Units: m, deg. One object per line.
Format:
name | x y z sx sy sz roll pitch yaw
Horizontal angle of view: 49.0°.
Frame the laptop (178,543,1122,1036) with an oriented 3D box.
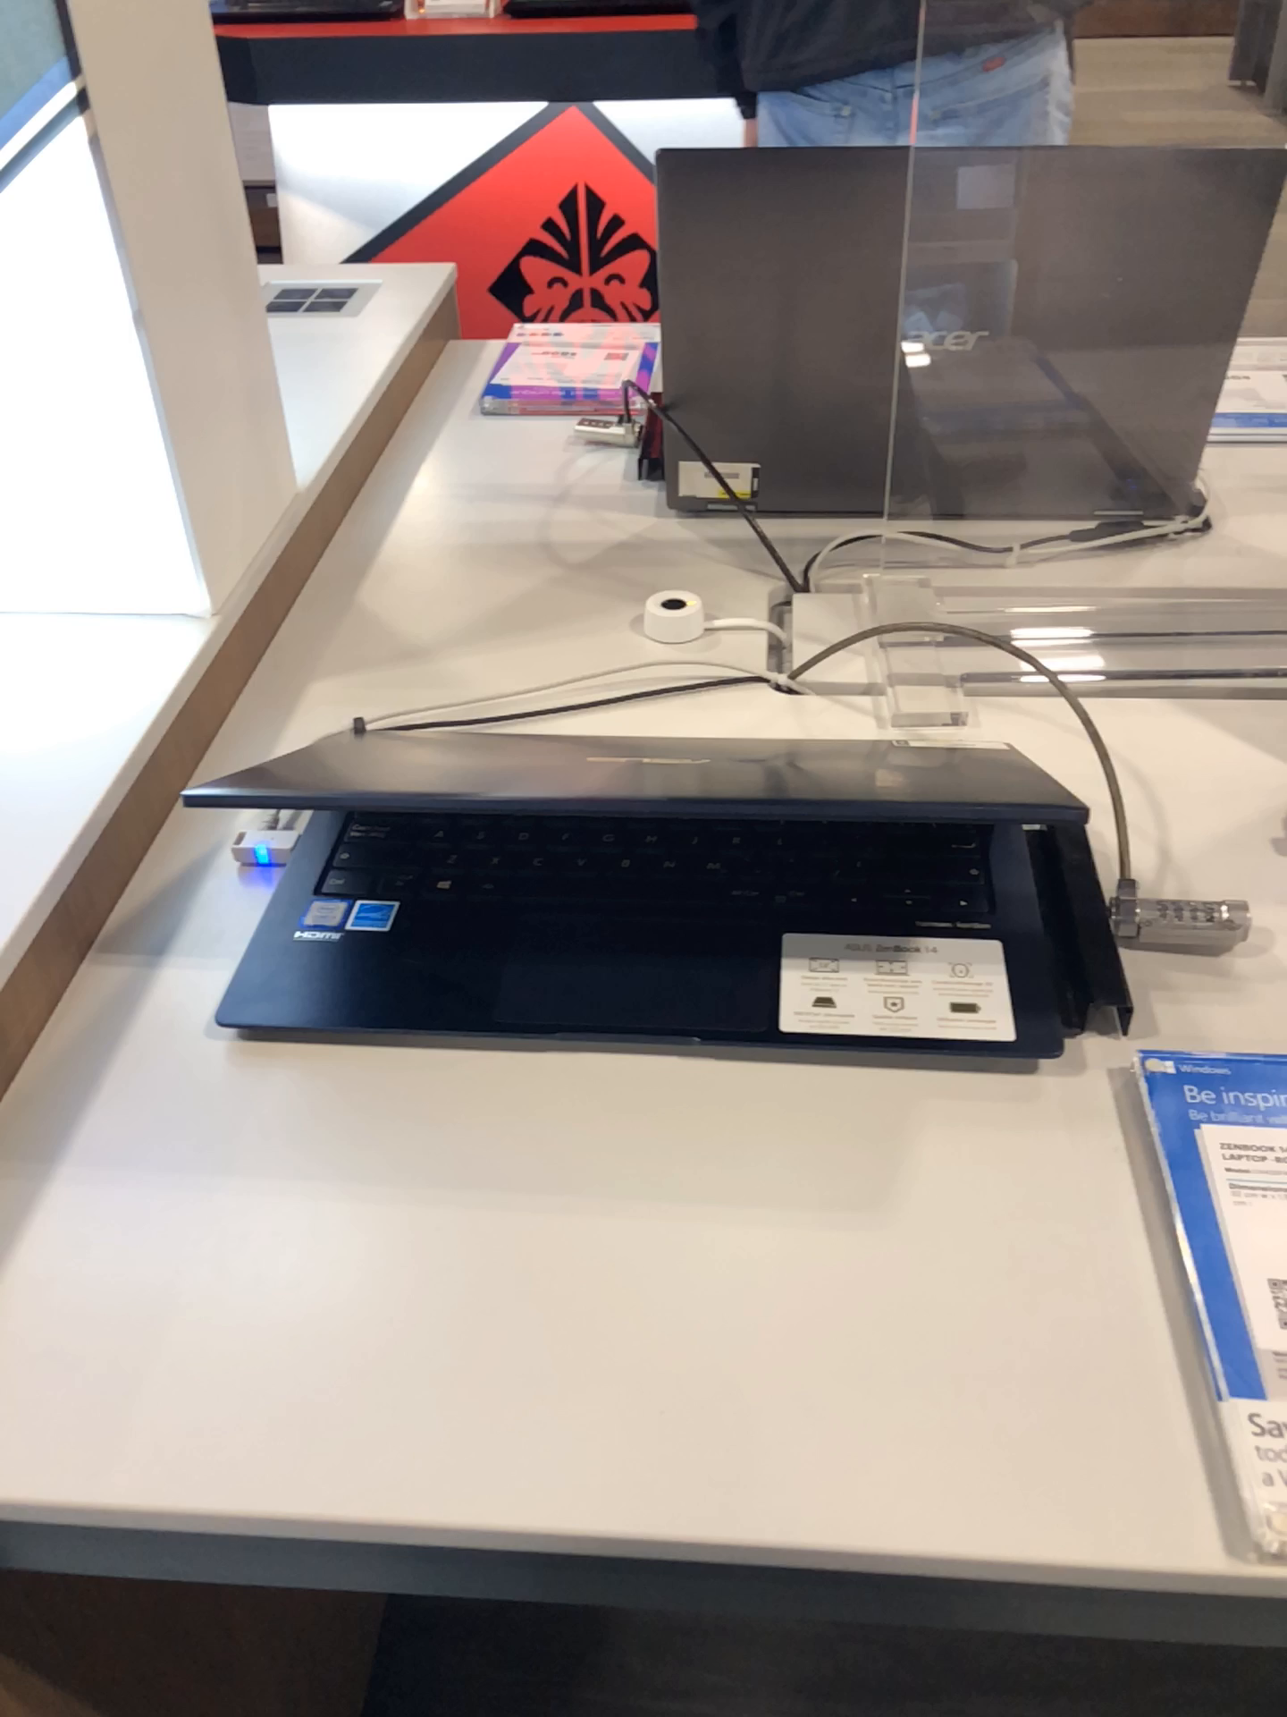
laptop | 0.009 -0.040 0.572 0.310 0.095 0.204 2 36 5
